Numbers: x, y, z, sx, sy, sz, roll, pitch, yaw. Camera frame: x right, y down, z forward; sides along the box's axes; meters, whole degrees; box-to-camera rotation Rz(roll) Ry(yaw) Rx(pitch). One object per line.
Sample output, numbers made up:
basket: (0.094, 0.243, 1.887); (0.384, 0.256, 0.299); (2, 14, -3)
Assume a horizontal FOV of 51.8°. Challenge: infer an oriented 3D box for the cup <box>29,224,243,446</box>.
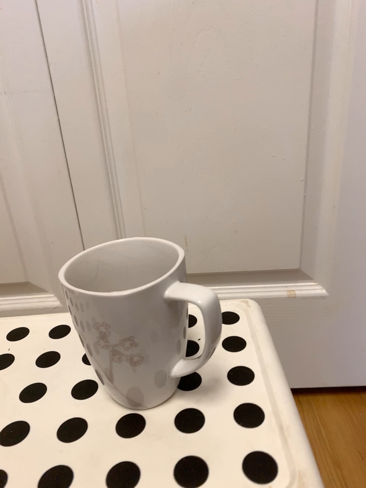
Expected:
cup: (-0.027, 0.055, 0.270); (0.120, 0.110, 0.070); (8, 27, 27)
